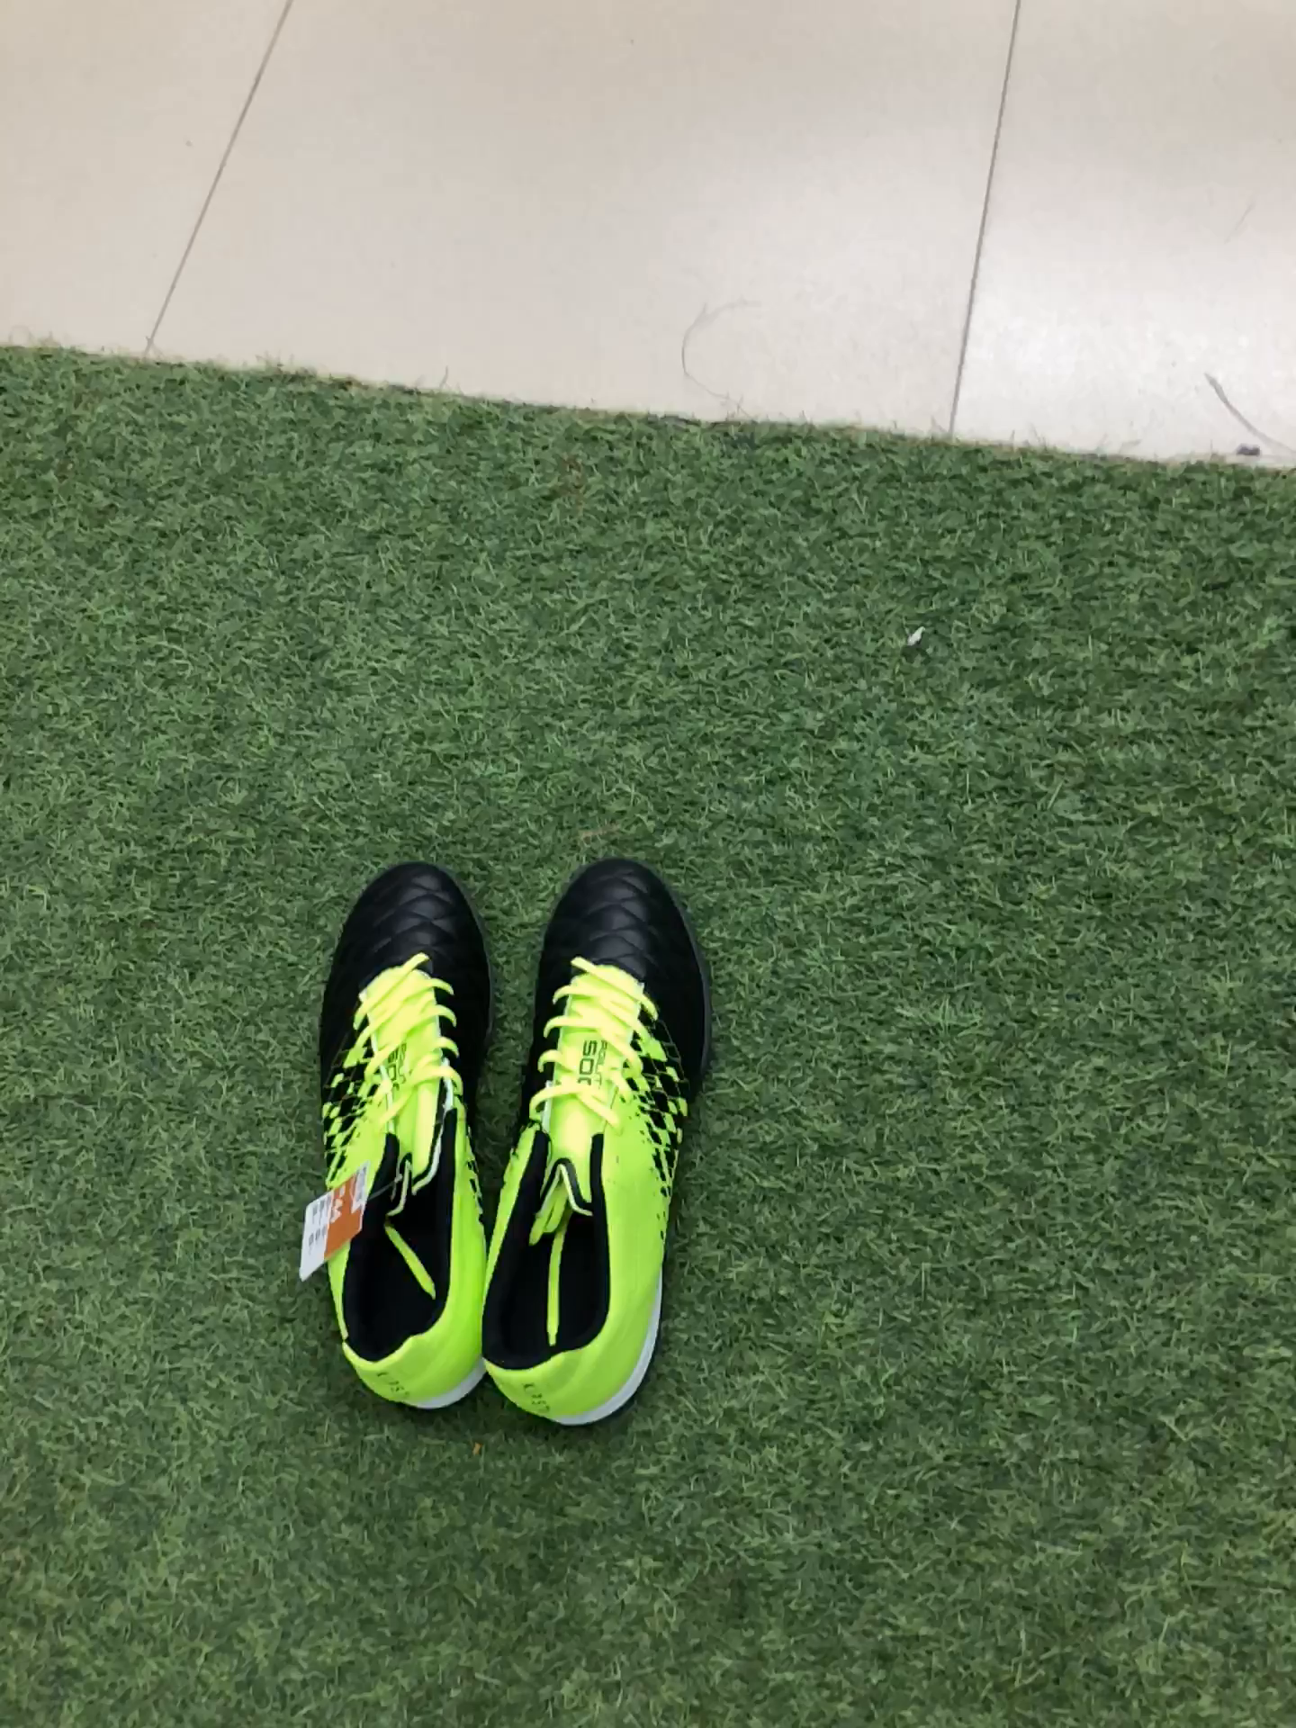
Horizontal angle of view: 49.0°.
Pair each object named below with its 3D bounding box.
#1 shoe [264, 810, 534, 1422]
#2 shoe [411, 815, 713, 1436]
[{"bbox_3d":[-0.124,0.125,0.716,0.100,0.090,0.281,-8,66,6],"label":"shoe"},{"bbox_3d":[-0.033,0.123,0.695,0.100,0.090,0.281,1,67,10],"label":"shoe"}]
